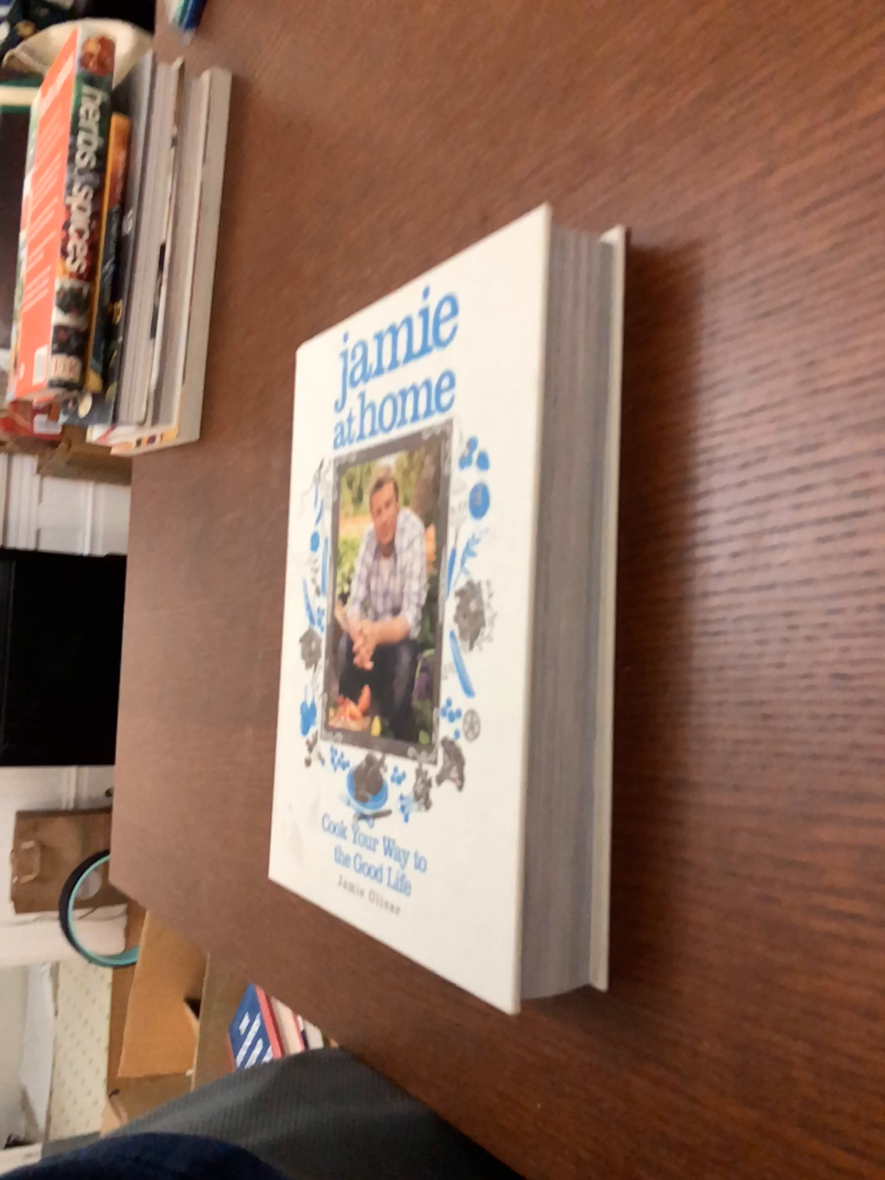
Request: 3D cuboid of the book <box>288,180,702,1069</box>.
[{"bbox_3d":[0.005,0.010,0.384,0.211,0.040,0.260,-3,83,59],"label":"book"}]
